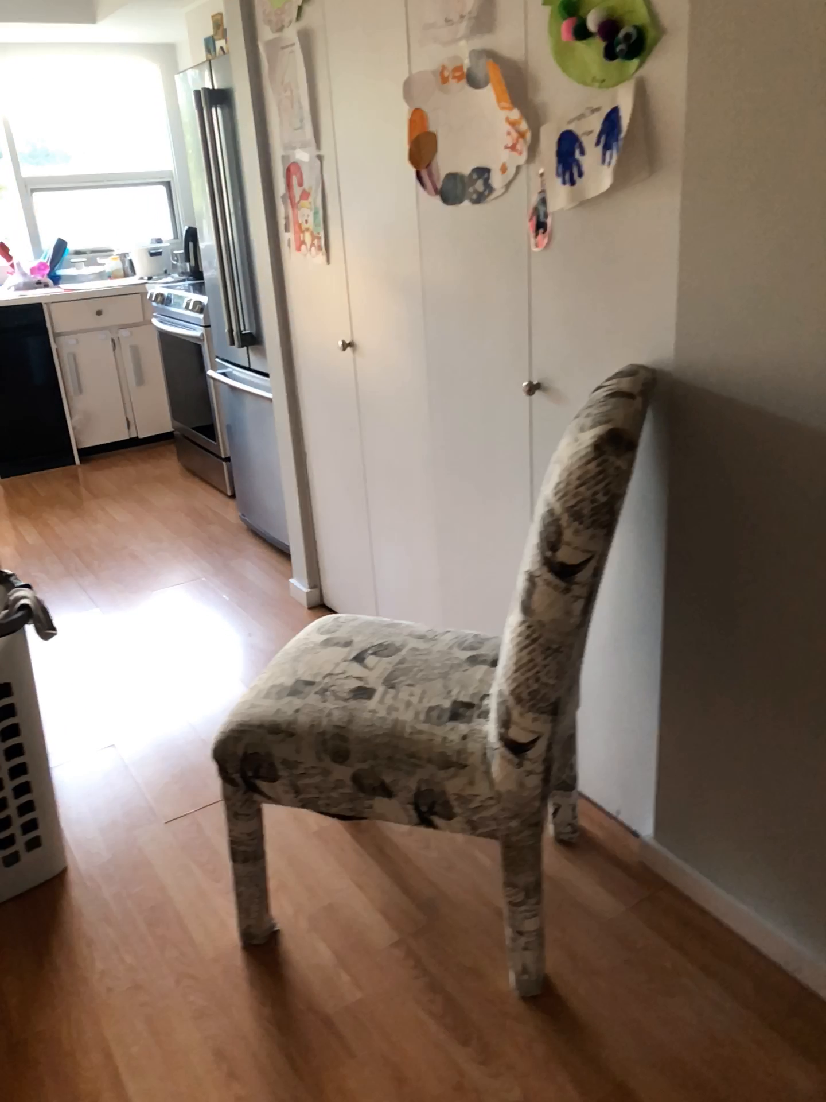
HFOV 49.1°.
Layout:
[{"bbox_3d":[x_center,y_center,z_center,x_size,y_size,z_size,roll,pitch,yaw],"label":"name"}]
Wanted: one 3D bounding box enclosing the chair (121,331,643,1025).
[{"bbox_3d":[0.019,0.169,1.583,0.671,0.997,0.521,4,23,19],"label":"chair"}]
